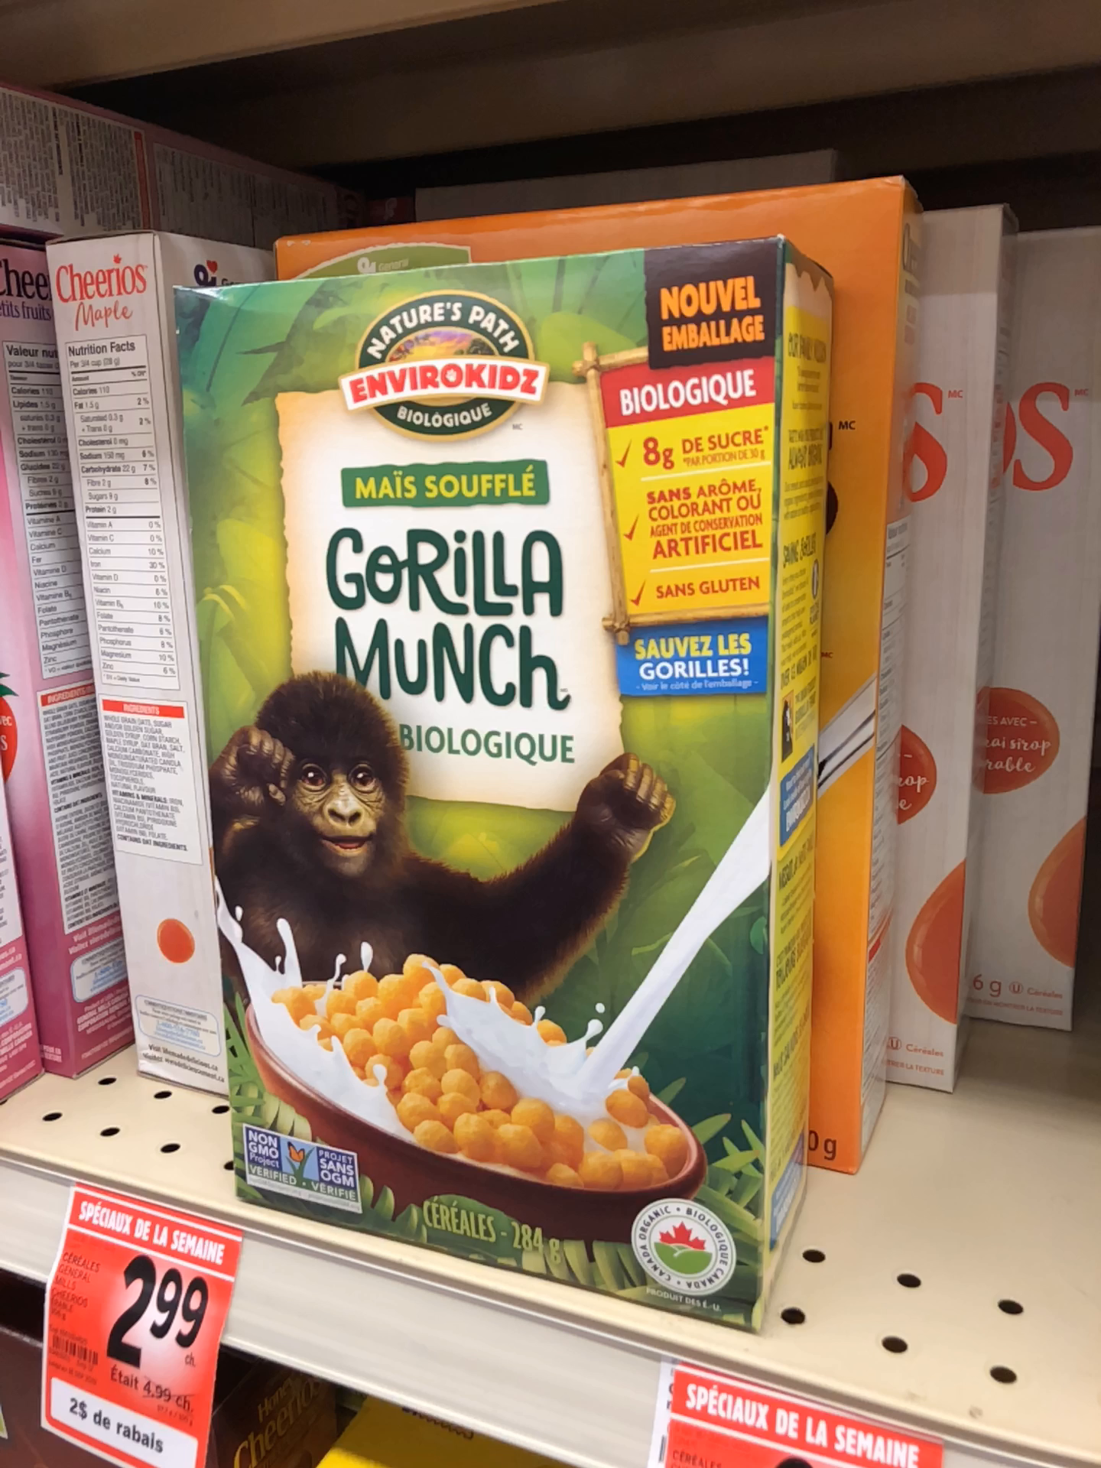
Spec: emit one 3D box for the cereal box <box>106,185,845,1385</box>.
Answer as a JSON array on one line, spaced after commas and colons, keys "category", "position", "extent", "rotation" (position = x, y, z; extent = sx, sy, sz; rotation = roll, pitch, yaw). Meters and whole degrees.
[{"category": "cereal box", "position": [-0.014, 0.013, 0.310], "extent": [0.160, 0.259, 0.060], "rotation": [4, 14, 22]}]
